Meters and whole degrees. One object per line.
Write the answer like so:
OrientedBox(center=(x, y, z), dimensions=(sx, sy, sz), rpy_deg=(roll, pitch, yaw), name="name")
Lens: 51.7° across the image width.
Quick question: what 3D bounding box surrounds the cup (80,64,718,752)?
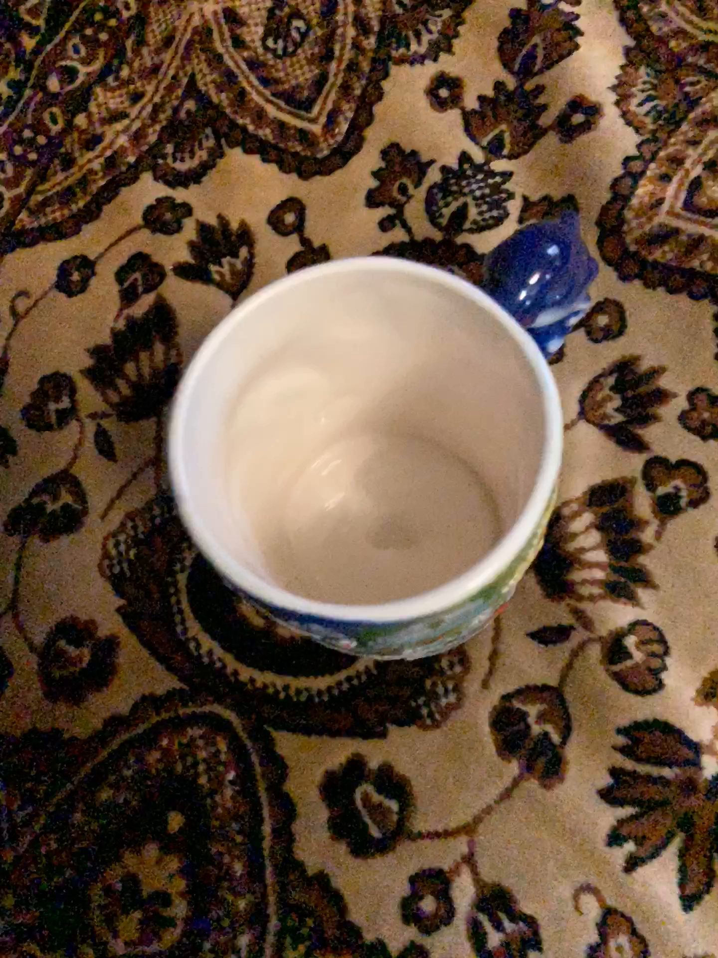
OrientedBox(center=(0.019, -0.011, 0.210), dimensions=(0.083, 0.106, 0.136), rpy_deg=(32, 79, 14), name="cup")
